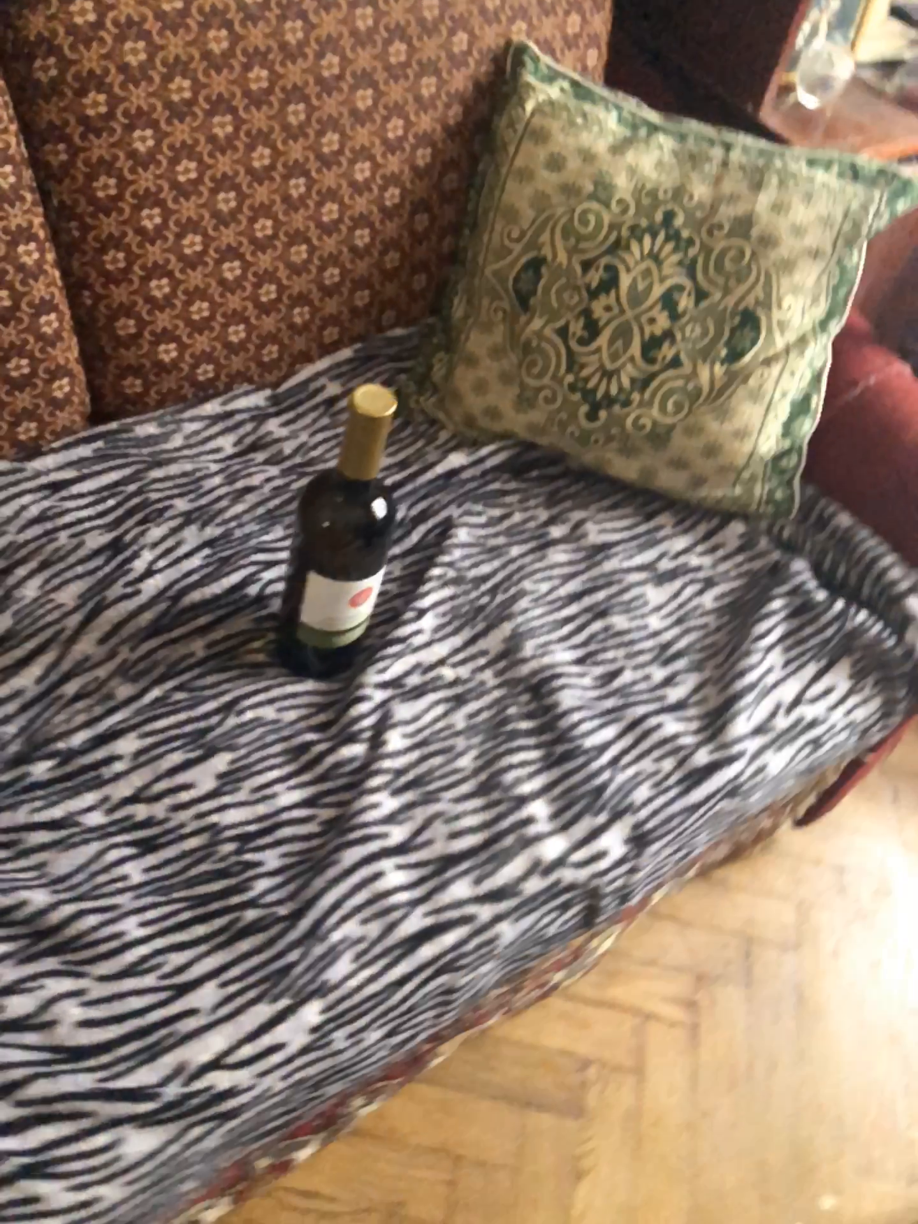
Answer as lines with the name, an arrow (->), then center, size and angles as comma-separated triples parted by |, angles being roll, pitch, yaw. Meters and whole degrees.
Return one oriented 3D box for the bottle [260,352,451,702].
bottle -> -0.086, -0.051, 0.748 | 0.080, 0.268, 0.080 | 7, 53, -9
